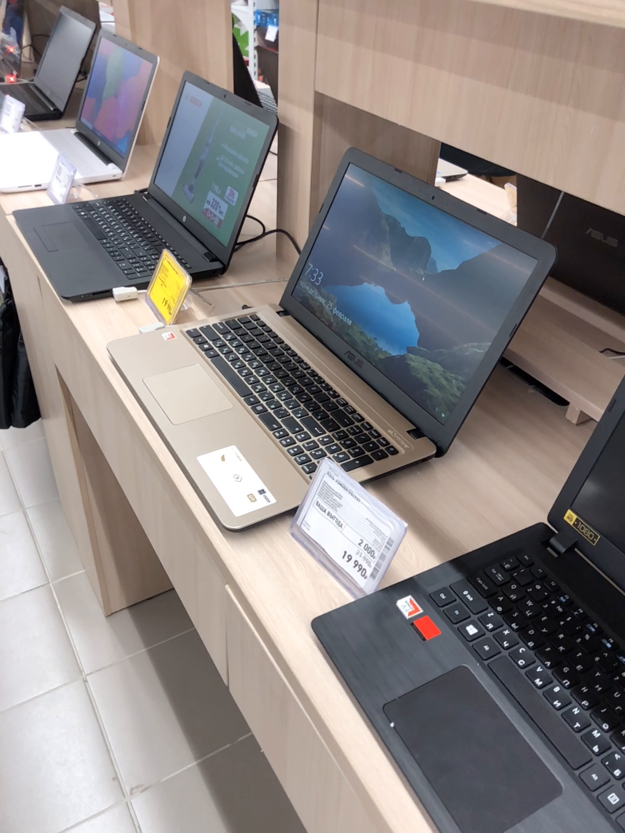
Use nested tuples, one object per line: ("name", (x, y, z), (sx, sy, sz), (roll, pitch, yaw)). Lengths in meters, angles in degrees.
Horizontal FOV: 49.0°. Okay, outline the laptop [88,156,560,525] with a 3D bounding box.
("laptop", (-0.013, -0.124, 0.782), (0.350, 0.208, 0.367), (-17, 39, -25))
